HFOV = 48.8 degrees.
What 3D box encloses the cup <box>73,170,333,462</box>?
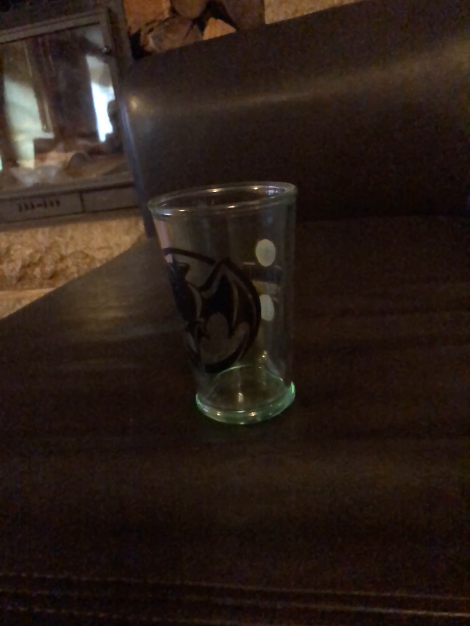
[{"bbox_3d":[-0.013,-0.008,0.275,0.088,0.117,0.084,-7,20,3],"label":"cup"}]
